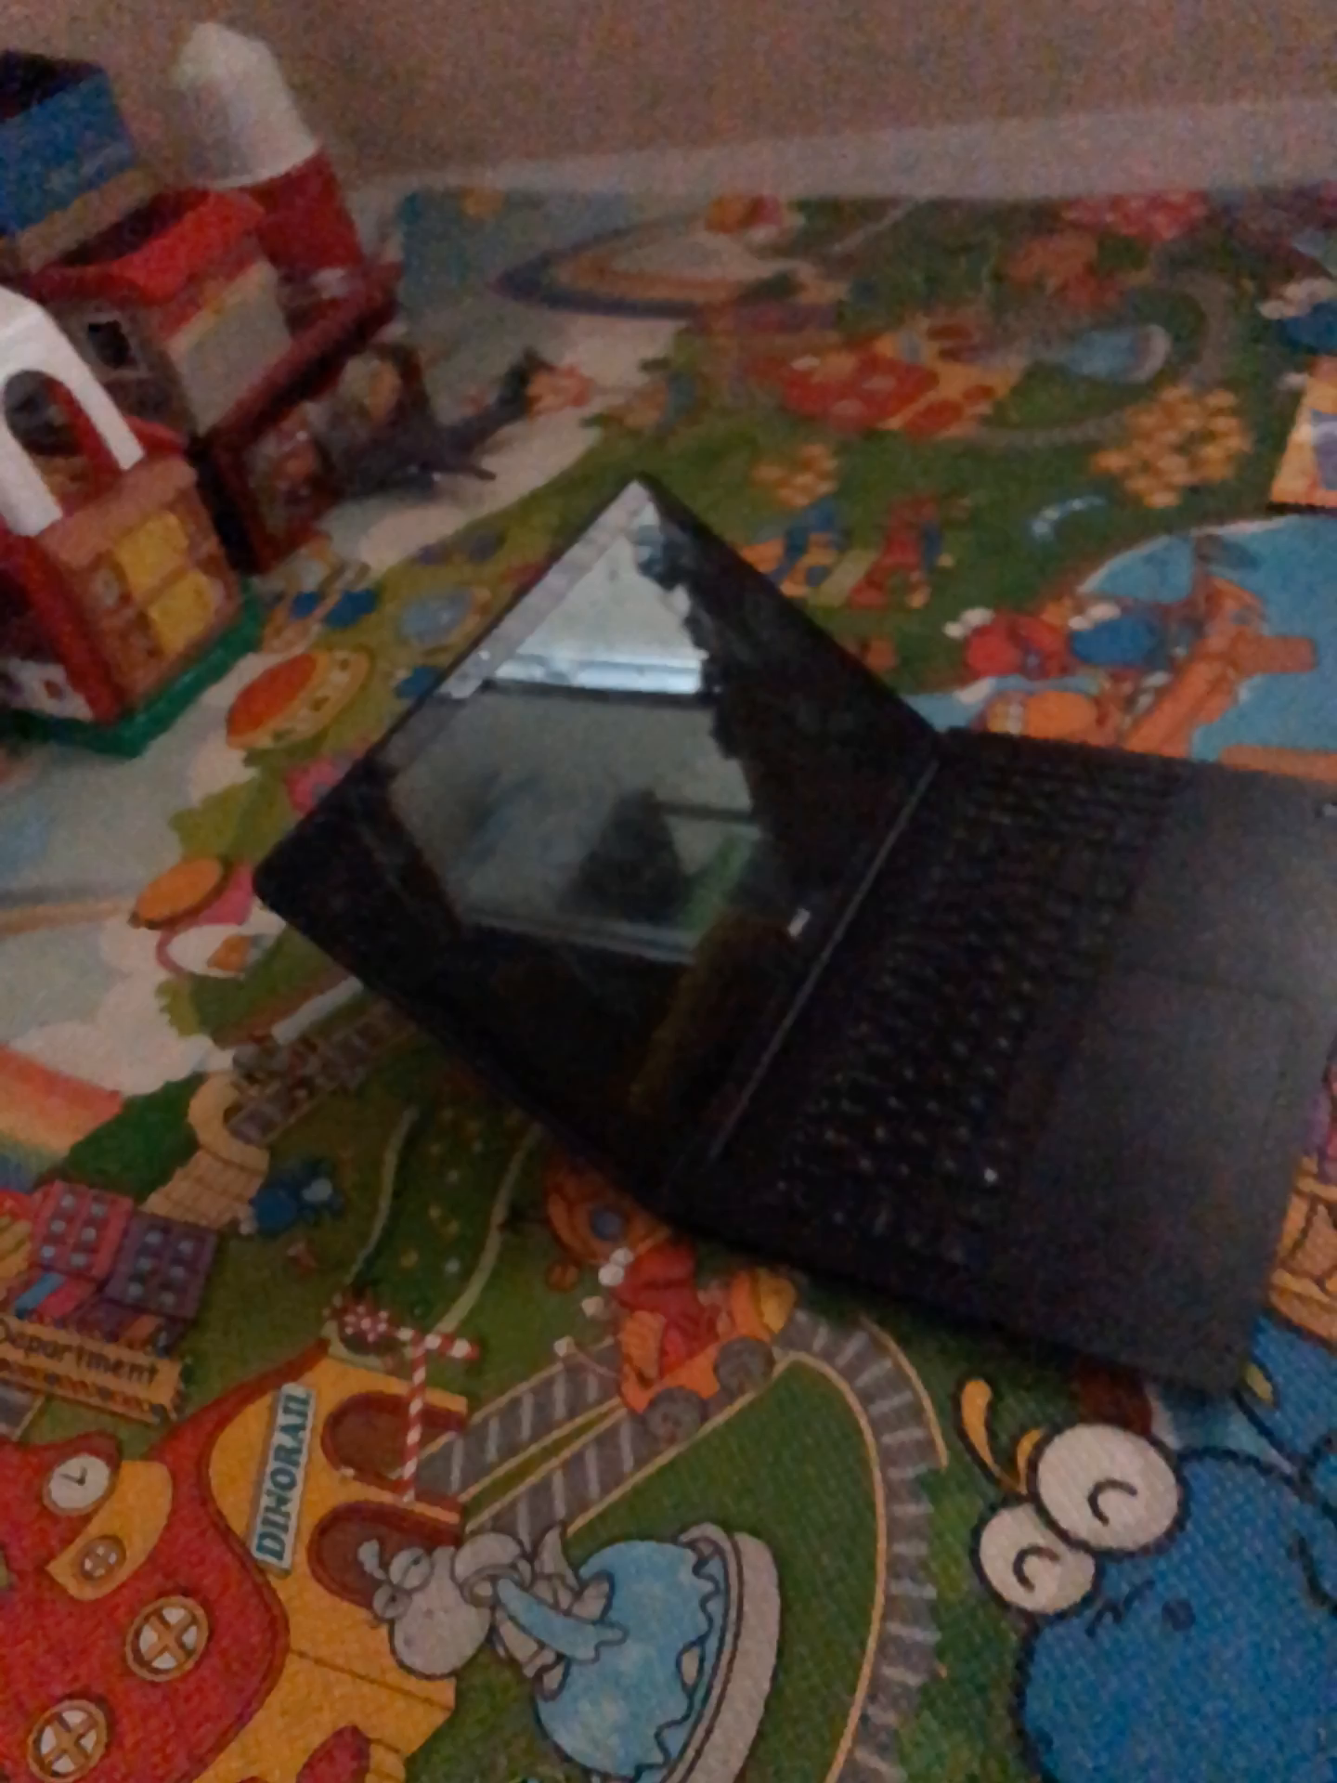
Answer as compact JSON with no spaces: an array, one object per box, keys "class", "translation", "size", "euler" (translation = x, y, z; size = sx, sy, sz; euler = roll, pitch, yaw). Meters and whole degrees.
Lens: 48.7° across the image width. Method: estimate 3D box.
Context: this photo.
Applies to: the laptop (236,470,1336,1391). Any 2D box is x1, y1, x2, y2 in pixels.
[{"class":"laptop","translation":[0.092,-0.027,0.723],"size":[0.429,0.158,0.362],"euler":[13,49,26]}]
